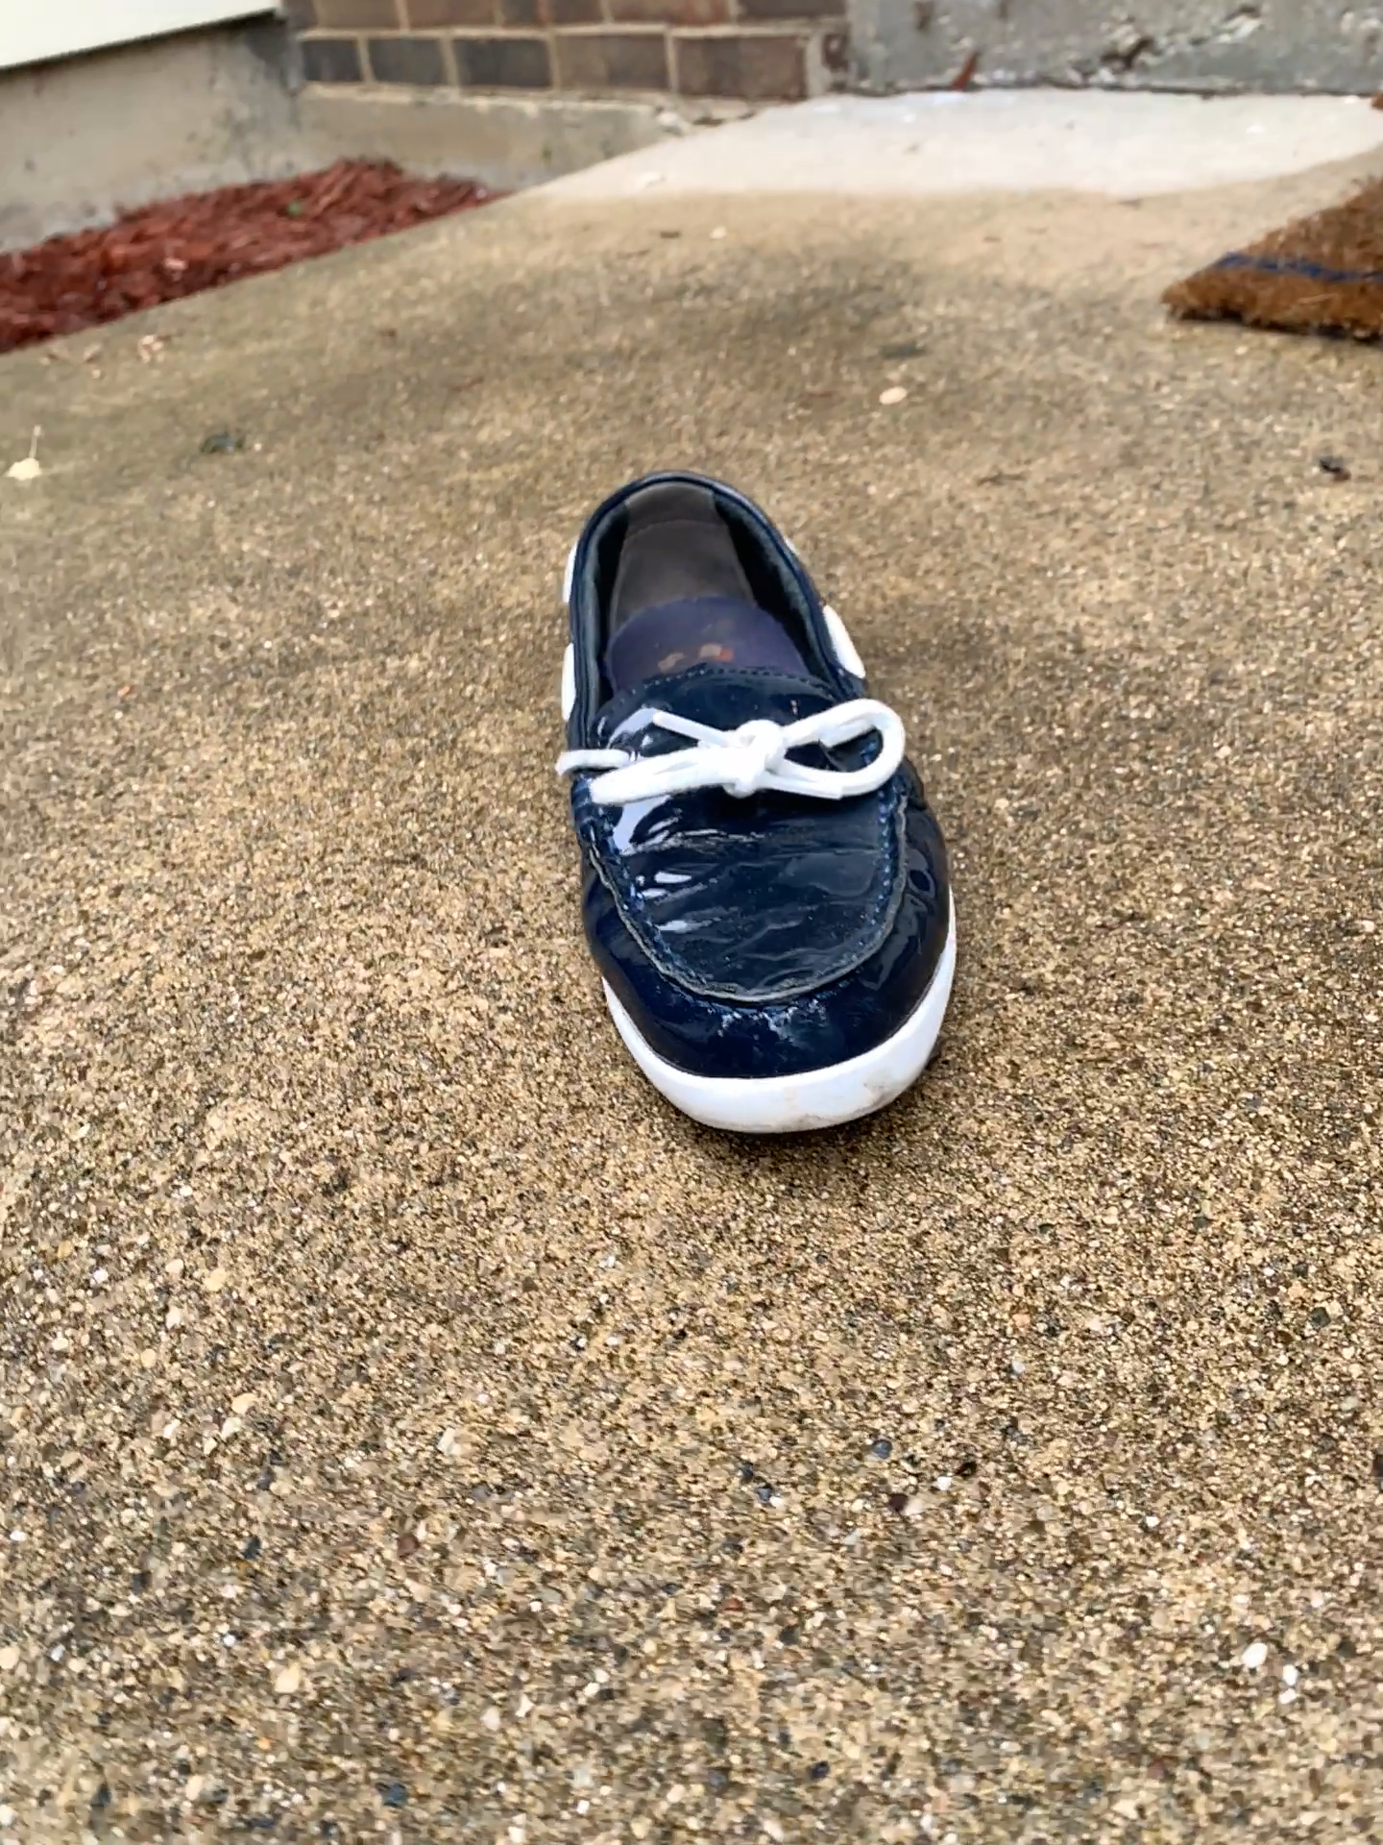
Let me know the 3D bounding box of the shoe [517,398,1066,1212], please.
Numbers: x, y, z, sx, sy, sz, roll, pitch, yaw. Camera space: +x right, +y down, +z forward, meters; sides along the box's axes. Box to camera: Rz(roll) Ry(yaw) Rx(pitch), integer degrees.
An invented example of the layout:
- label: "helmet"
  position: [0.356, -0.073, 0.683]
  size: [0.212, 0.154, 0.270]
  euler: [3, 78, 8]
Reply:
- label: "shoe"
  position: [0.011, -0.052, 0.382]
  size: [0.101, 0.083, 0.247]
  euler: [-9, 37, 0]
